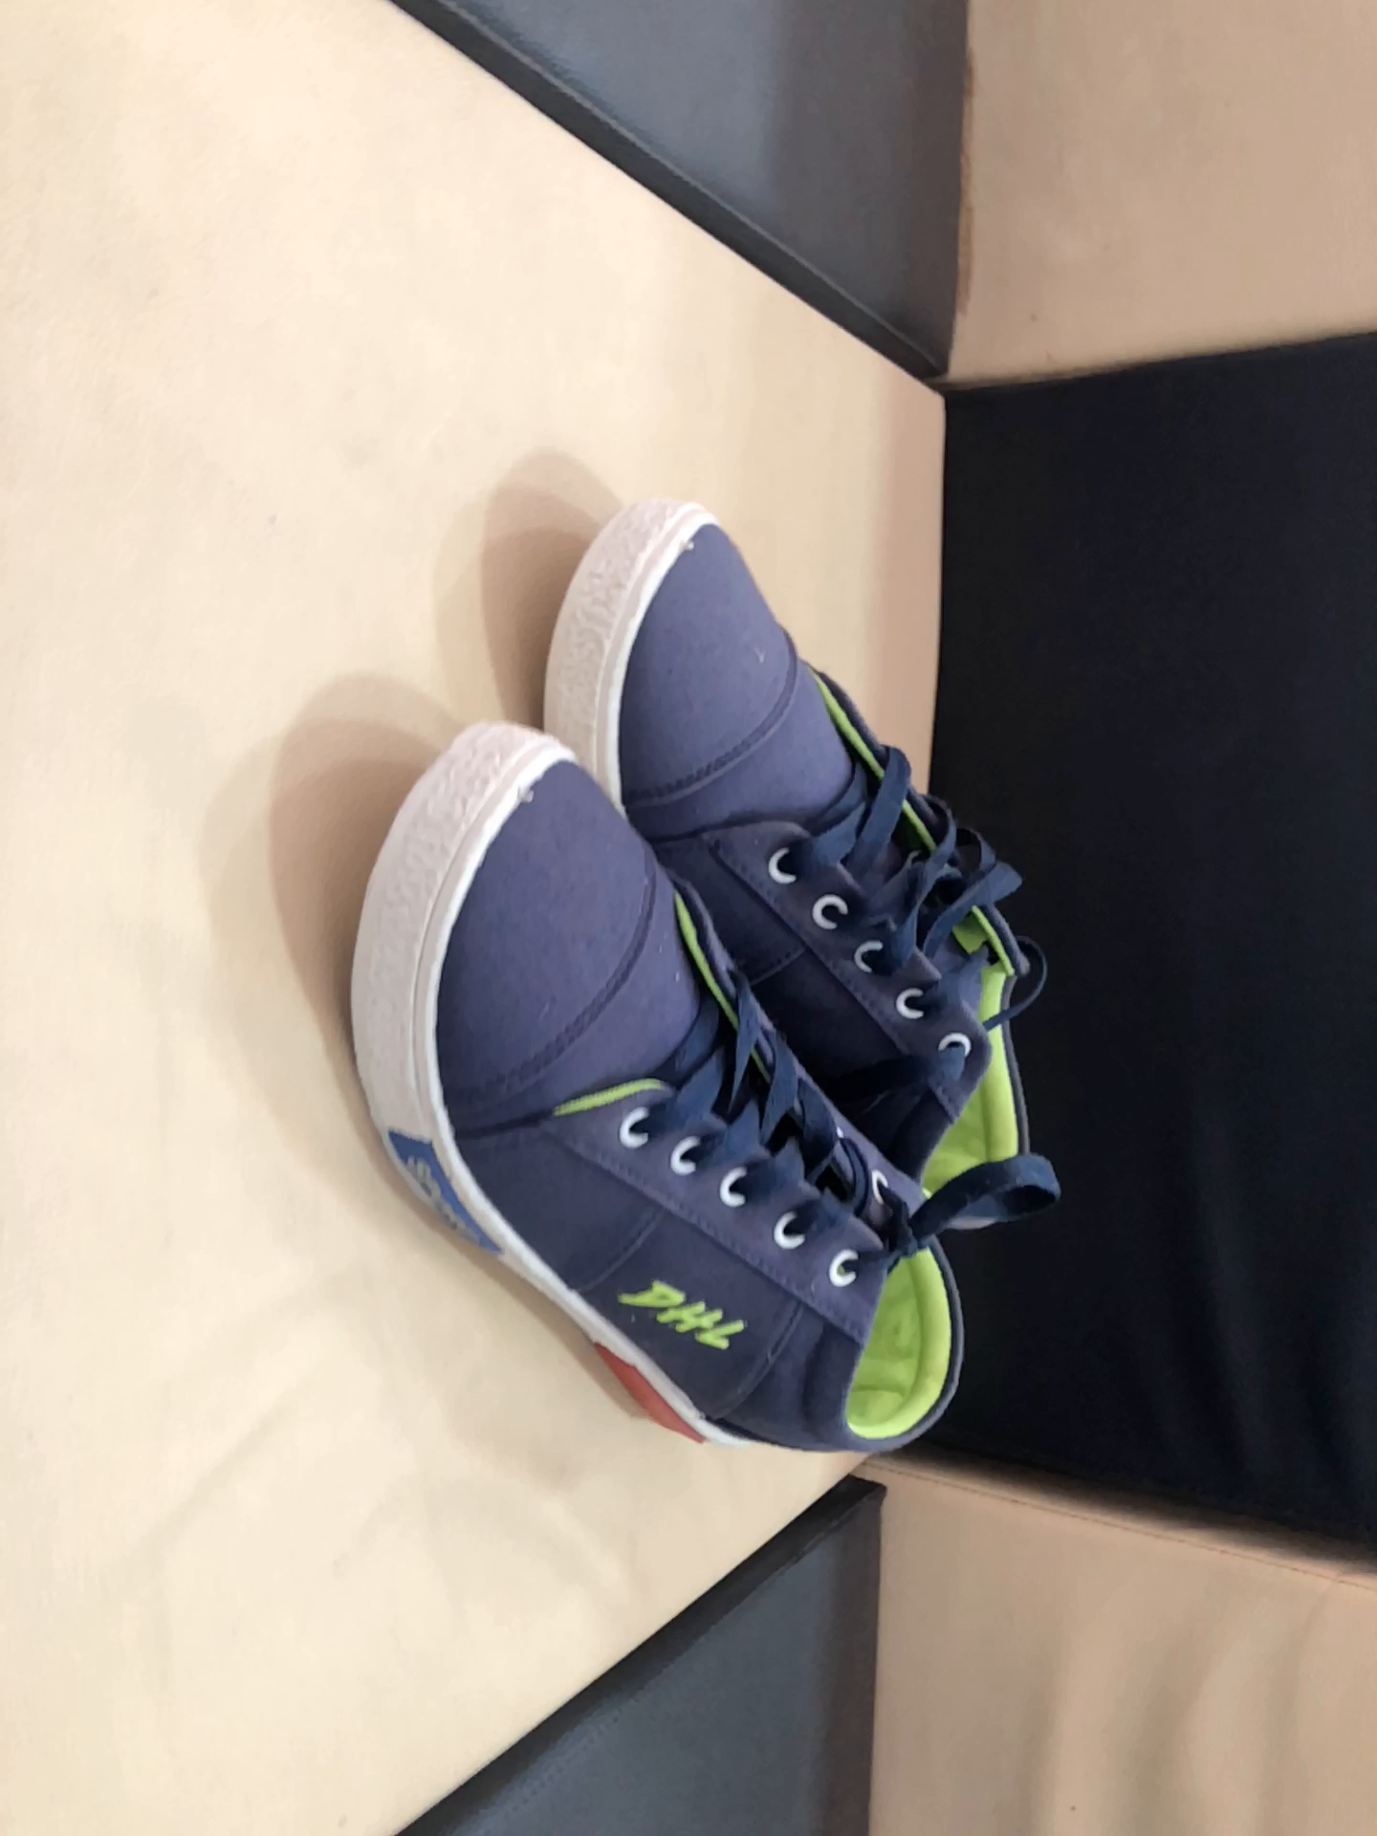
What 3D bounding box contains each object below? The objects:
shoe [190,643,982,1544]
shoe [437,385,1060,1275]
[{"bbox_3d":[-0.004,0.059,0.409,0.090,0.089,0.261,-62,143,-34],"label":"shoe"},{"bbox_3d":[0.037,-0.009,0.460,0.090,0.079,0.272,-62,143,-34],"label":"shoe"}]
